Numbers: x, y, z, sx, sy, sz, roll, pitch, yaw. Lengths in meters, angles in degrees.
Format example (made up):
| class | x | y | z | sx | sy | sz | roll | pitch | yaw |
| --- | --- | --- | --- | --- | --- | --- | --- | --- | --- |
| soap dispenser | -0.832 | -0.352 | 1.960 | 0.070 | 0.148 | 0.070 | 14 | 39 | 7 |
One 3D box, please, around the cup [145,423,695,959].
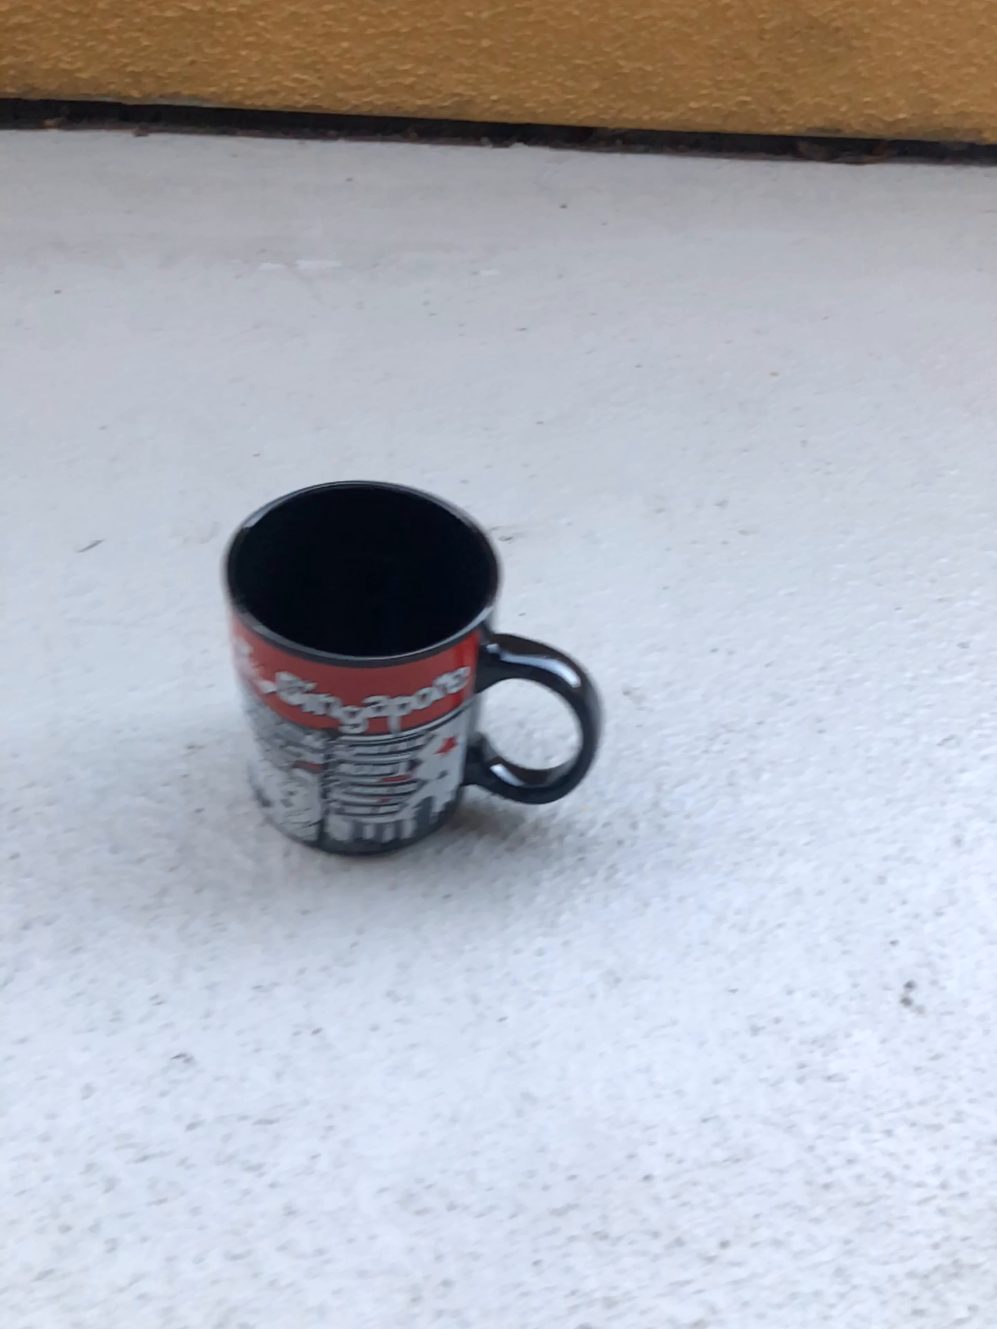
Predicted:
| class | x | y | z | sx | sy | sz | roll | pitch | yaw |
| --- | --- | --- | --- | --- | --- | --- | --- | --- | --- |
| cup | -0.022 | 0.009 | 0.341 | 0.130 | 0.110 | 0.080 | 16 | 47 | 8 |
